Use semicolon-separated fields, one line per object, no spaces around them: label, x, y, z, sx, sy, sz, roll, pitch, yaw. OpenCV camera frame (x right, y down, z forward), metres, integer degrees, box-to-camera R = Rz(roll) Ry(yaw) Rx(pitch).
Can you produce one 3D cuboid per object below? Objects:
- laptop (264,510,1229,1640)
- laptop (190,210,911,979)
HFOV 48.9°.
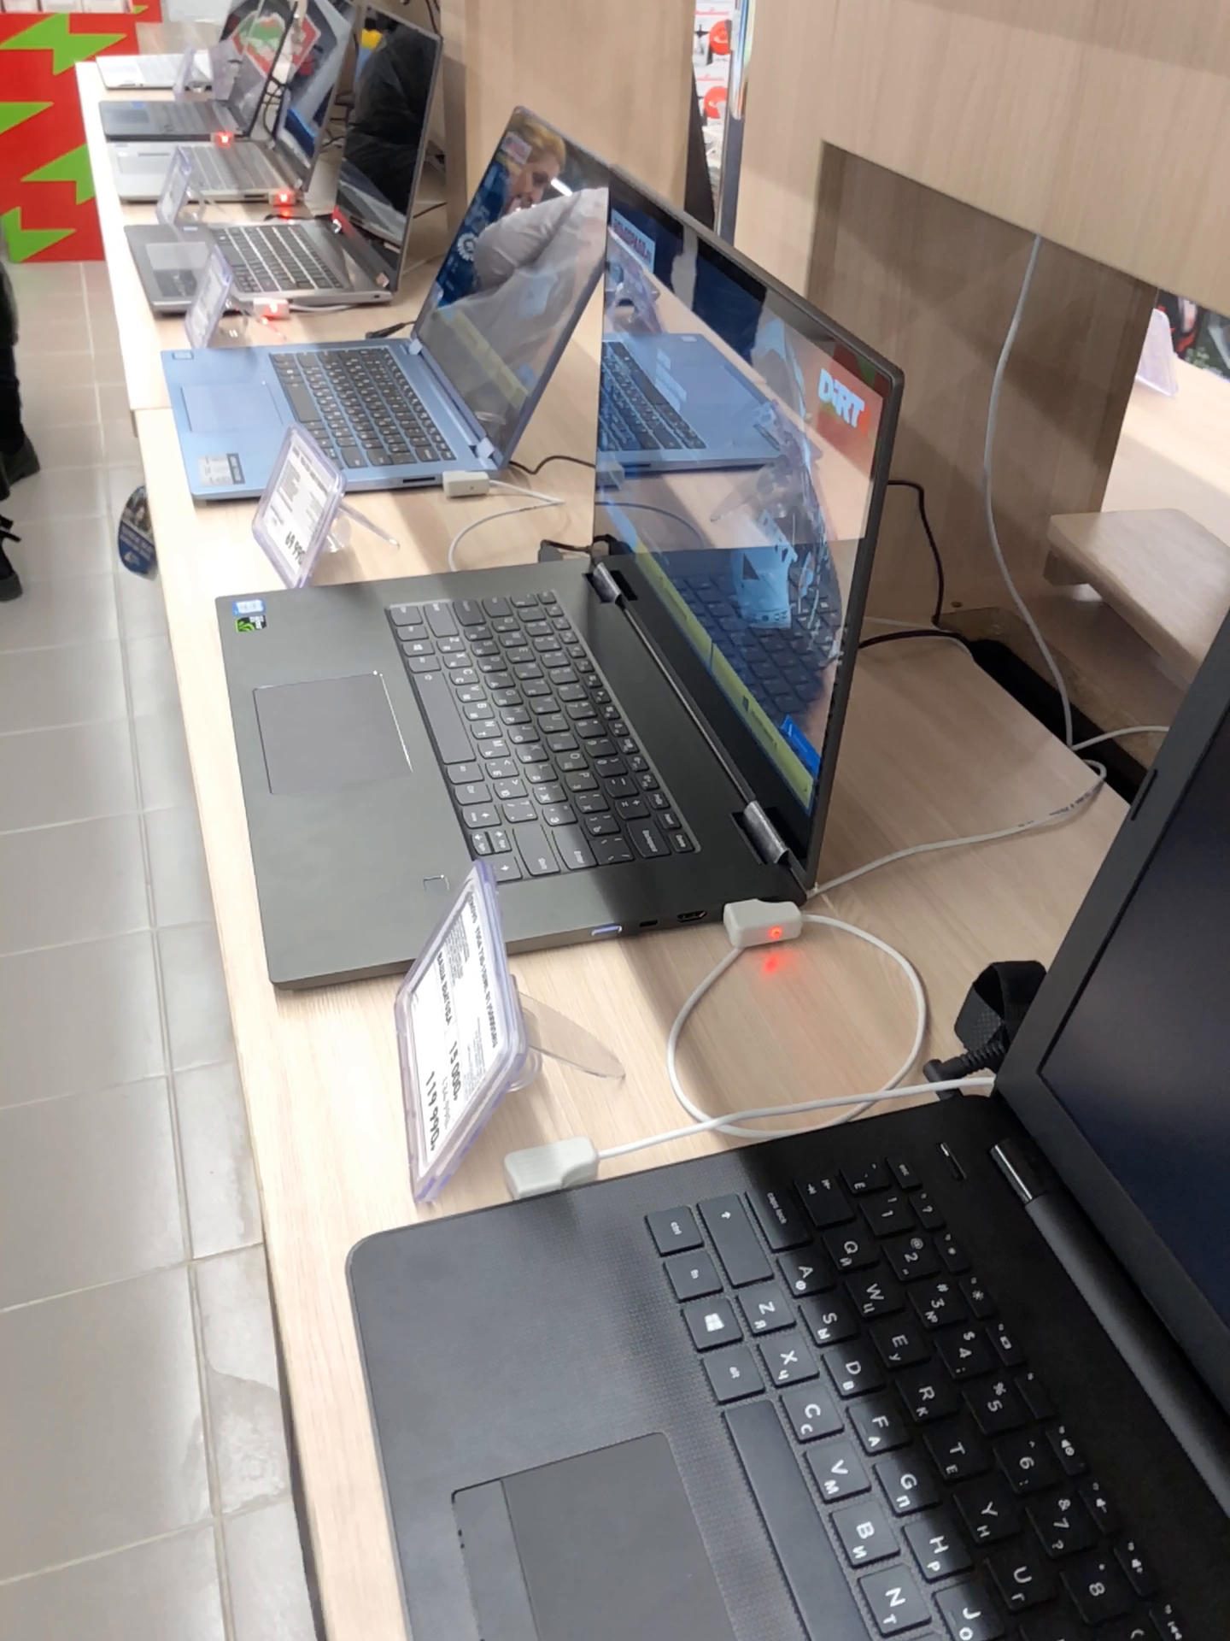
laptop;0.096;0.097;0.296;0.308;0.238;0.307;-2;31;-11
laptop;-0.067;-0.144;0.684;0.251;0.240;0.360;-7;34;-13
